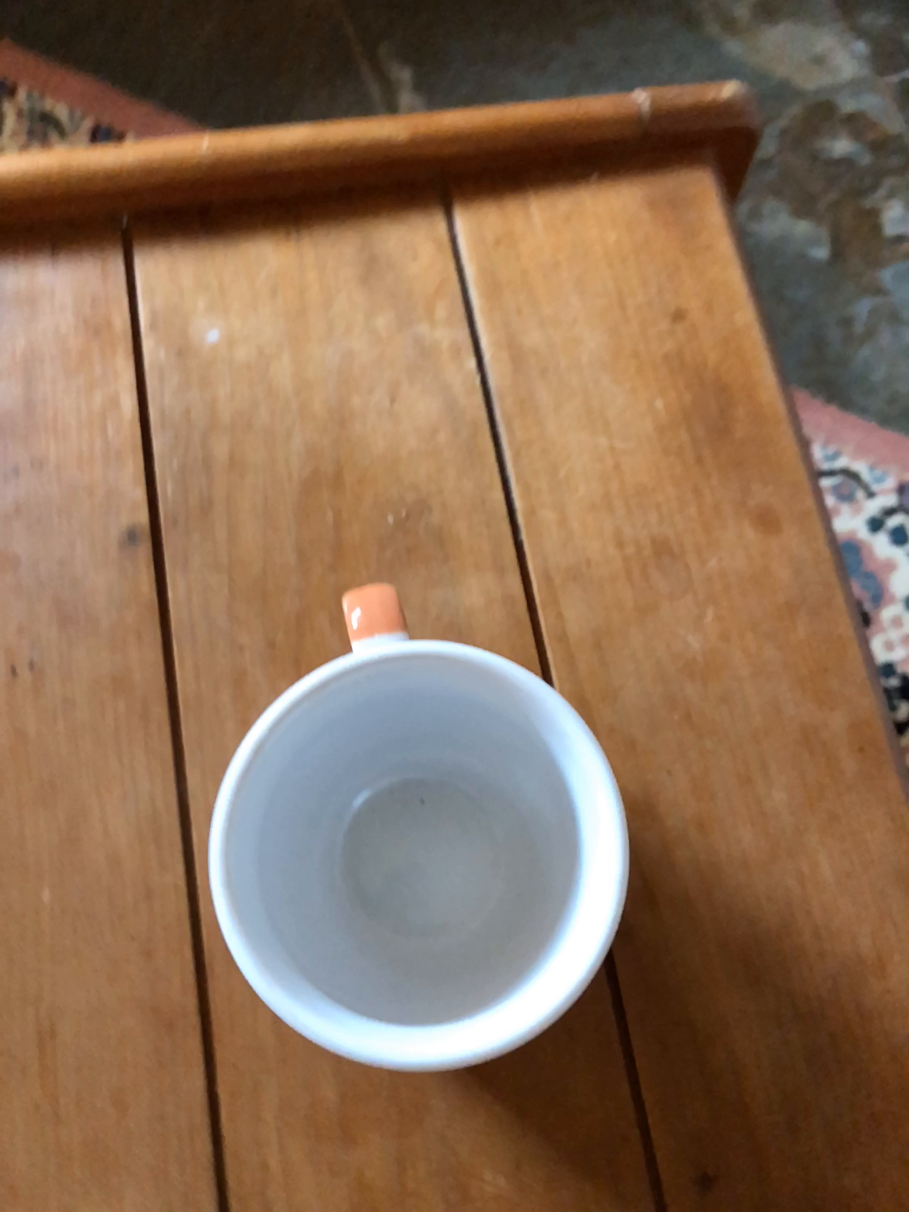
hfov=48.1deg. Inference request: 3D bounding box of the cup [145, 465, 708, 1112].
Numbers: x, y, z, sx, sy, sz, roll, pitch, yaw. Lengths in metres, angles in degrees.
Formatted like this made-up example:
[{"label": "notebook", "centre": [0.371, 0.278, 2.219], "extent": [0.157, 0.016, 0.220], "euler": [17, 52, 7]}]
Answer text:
[{"label": "cup", "centre": [-0.010, 0.038, 0.230], "extent": [0.090, 0.060, 0.110], "euler": [-11, 73, -7]}]
